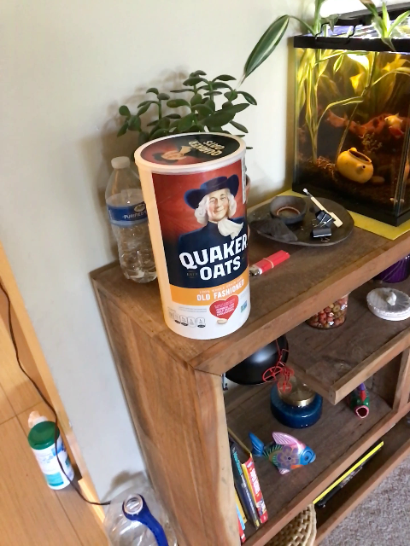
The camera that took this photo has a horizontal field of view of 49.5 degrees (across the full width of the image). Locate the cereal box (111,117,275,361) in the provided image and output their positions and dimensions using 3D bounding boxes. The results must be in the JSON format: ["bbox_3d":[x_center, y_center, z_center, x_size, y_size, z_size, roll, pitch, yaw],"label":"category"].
[{"bbox_3d":[-0.010,-0.046,0.572,0.140,0.248,0.141,-19,37,-19],"label":"cereal box"}]
